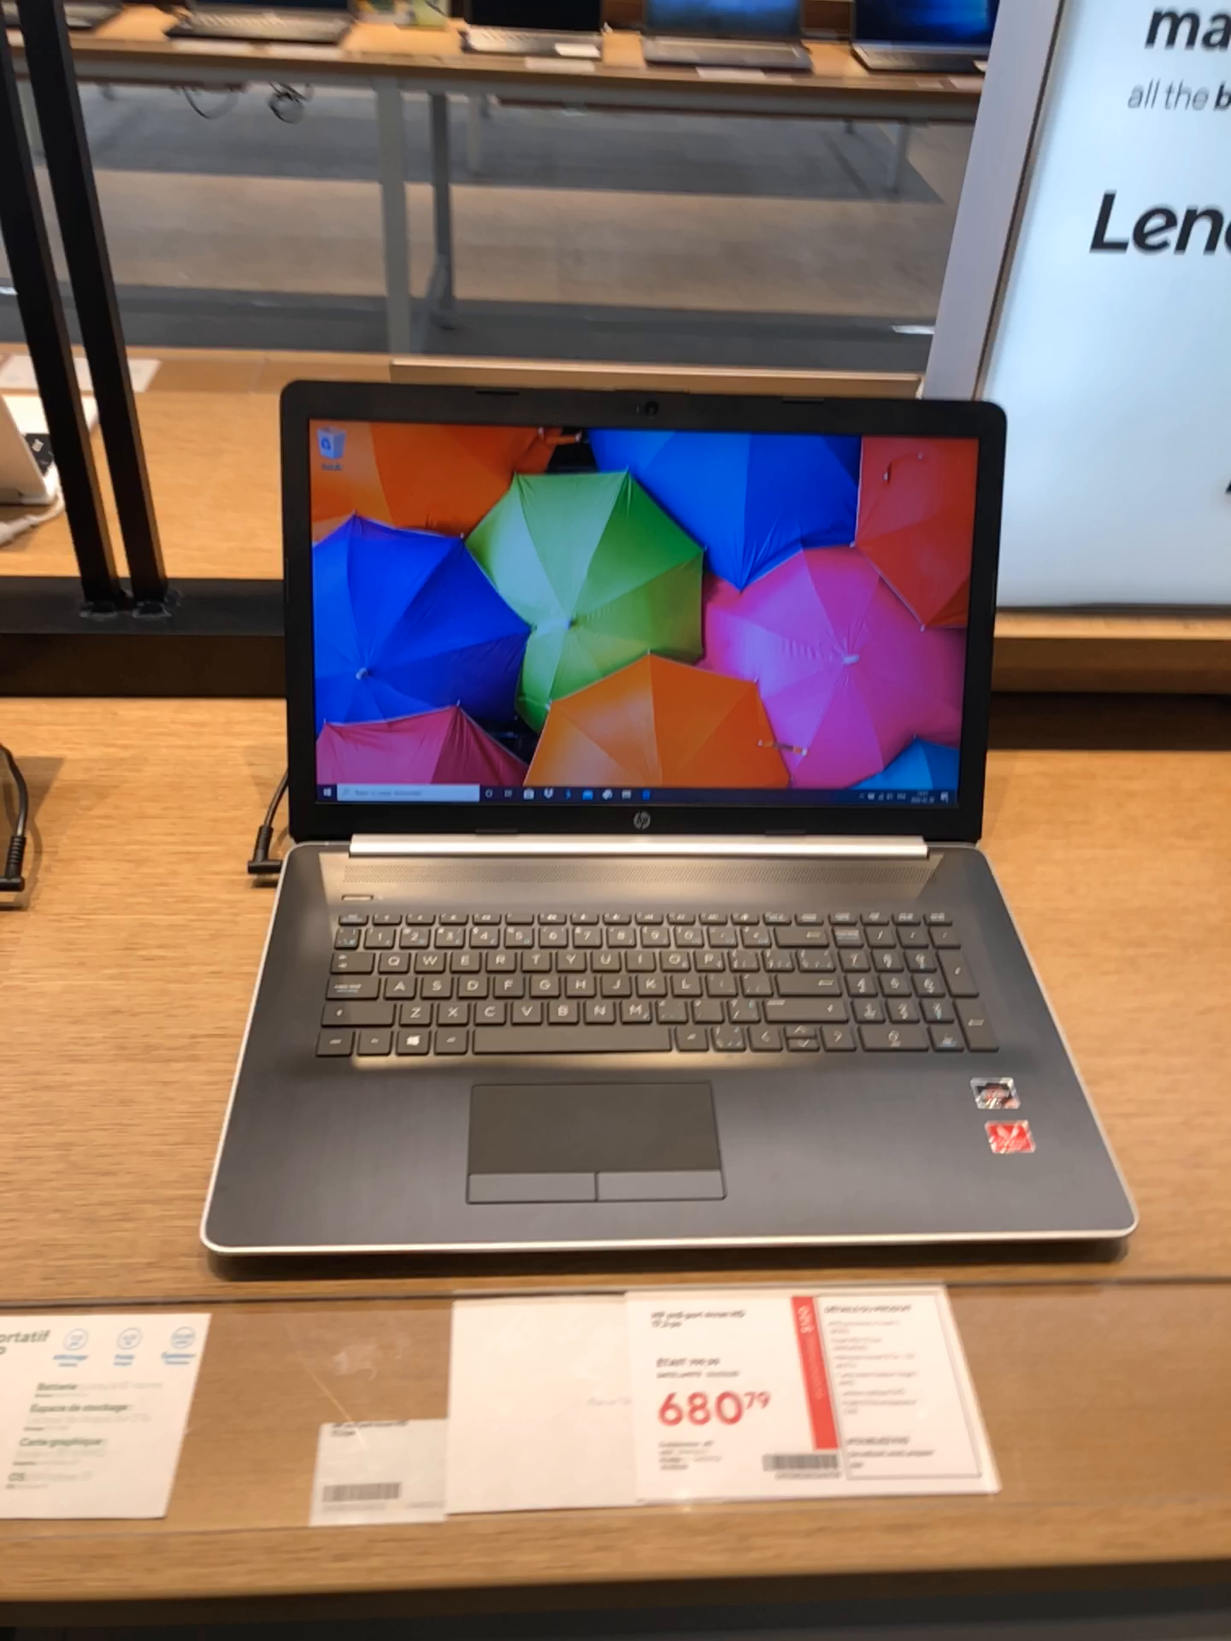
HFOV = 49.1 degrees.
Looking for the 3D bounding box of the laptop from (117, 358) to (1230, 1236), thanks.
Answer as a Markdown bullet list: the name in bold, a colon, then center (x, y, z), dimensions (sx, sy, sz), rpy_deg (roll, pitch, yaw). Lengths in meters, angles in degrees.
- **laptop**: center (0.019, -0.038, 0.680), dimensions (0.399, 0.217, 0.399), rpy_deg (0, 41, -4)
